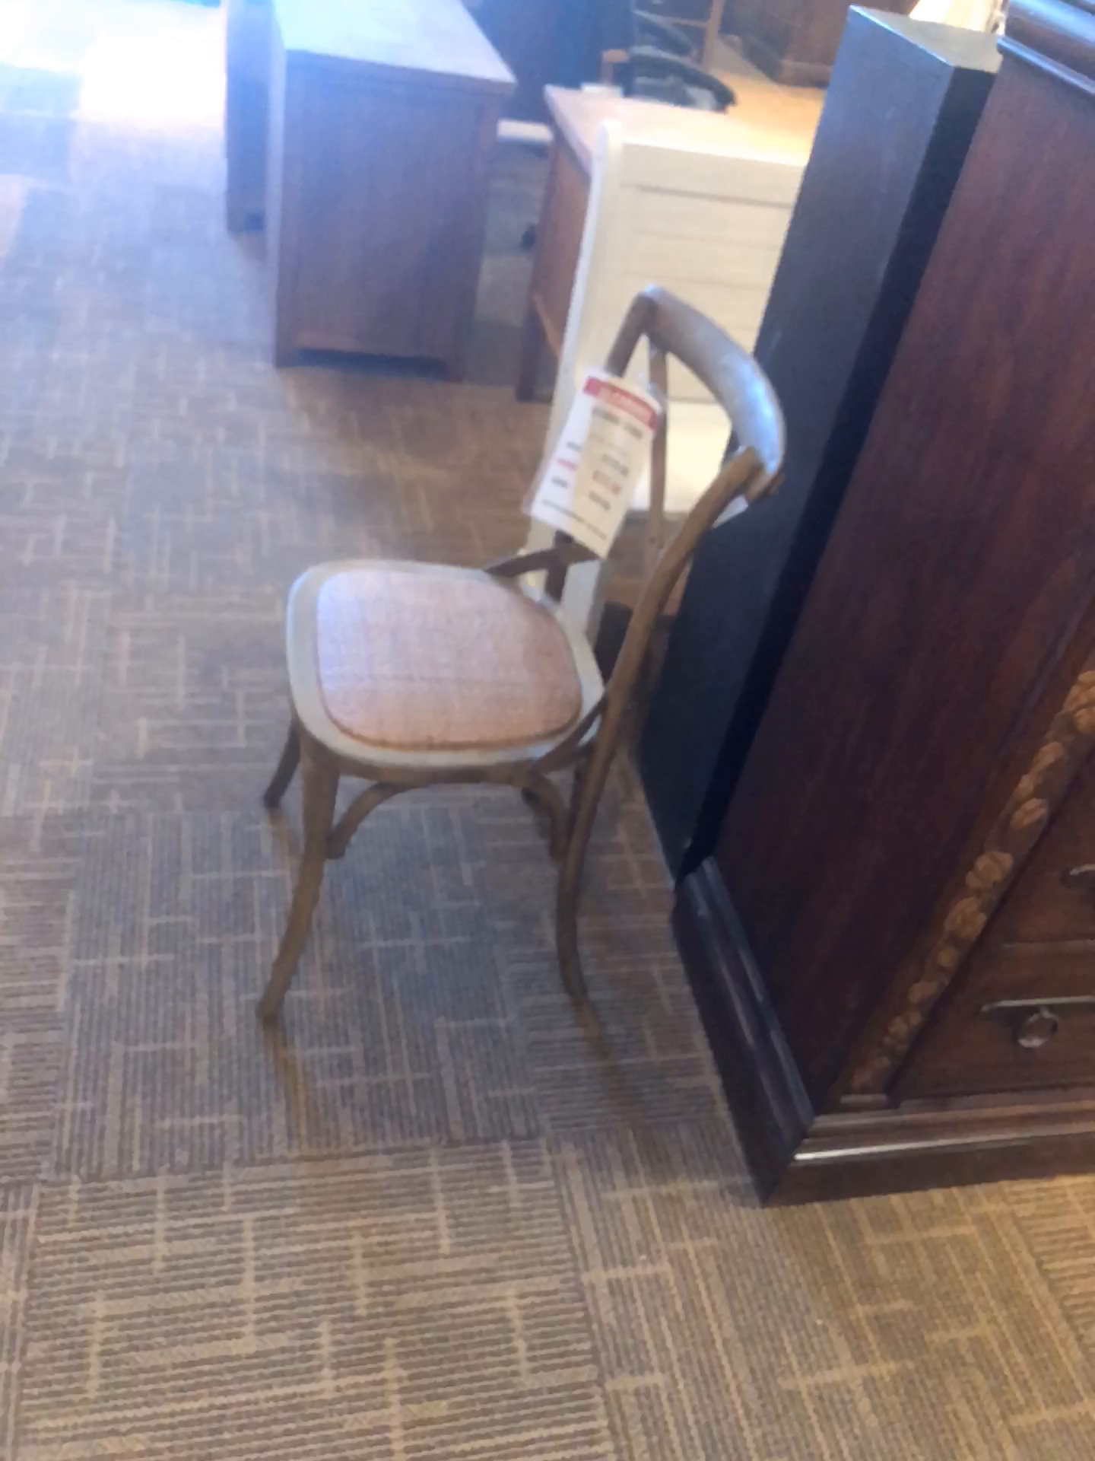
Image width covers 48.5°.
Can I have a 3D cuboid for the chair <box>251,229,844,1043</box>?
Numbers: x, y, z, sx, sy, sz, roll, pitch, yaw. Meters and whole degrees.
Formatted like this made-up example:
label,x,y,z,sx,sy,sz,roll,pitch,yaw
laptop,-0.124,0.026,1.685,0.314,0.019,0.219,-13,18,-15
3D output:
label,x,y,z,sx,sy,sz,roll,pitch,yaw
chair,-0.086,-0.078,1.536,0.529,0.860,0.492,2,39,-13
